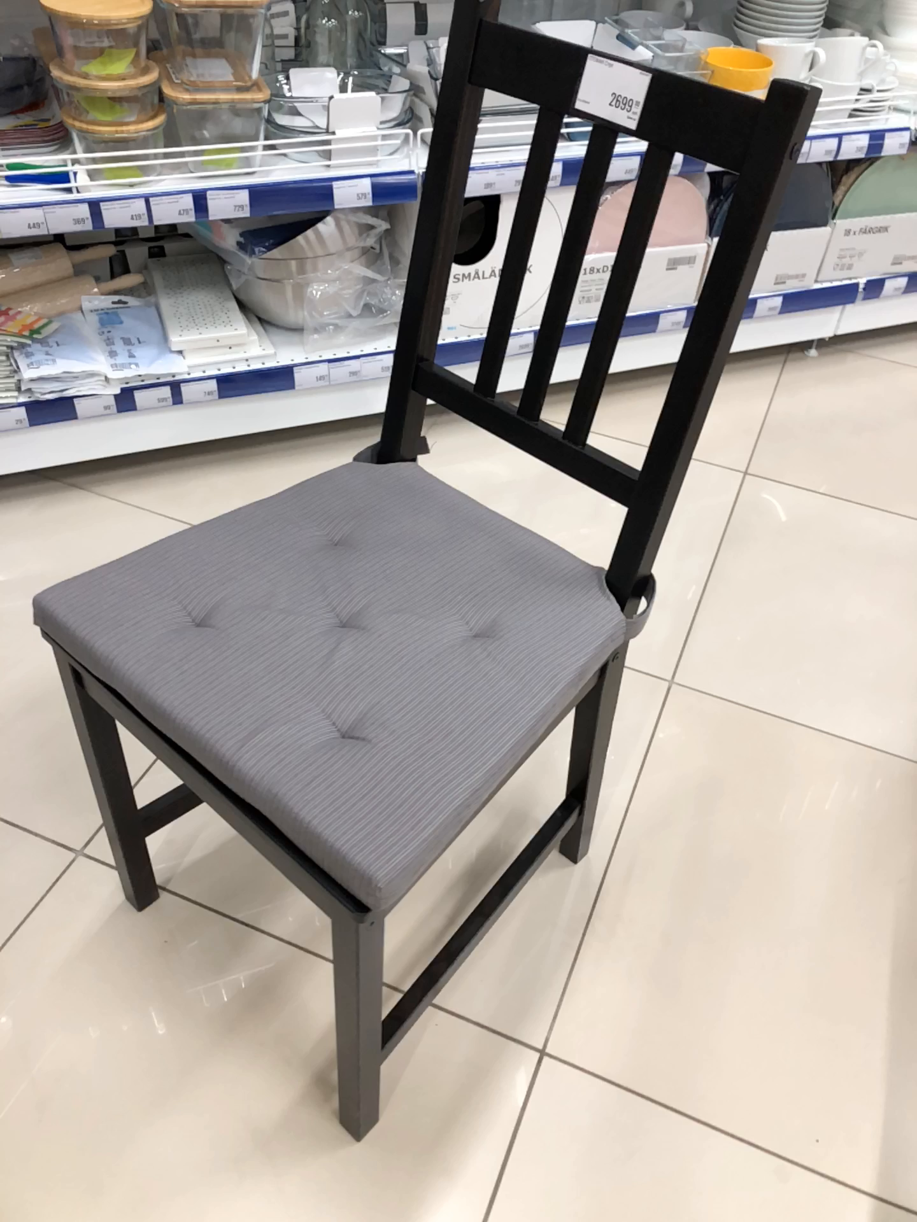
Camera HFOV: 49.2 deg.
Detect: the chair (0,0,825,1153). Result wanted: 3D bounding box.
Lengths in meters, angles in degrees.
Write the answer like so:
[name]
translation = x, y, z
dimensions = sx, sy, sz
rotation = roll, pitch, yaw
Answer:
[chair]
translation = -0.085, -0.006, 0.895
dimensions = 0.401, 0.854, 0.462
rotation = 32, 49, 27
